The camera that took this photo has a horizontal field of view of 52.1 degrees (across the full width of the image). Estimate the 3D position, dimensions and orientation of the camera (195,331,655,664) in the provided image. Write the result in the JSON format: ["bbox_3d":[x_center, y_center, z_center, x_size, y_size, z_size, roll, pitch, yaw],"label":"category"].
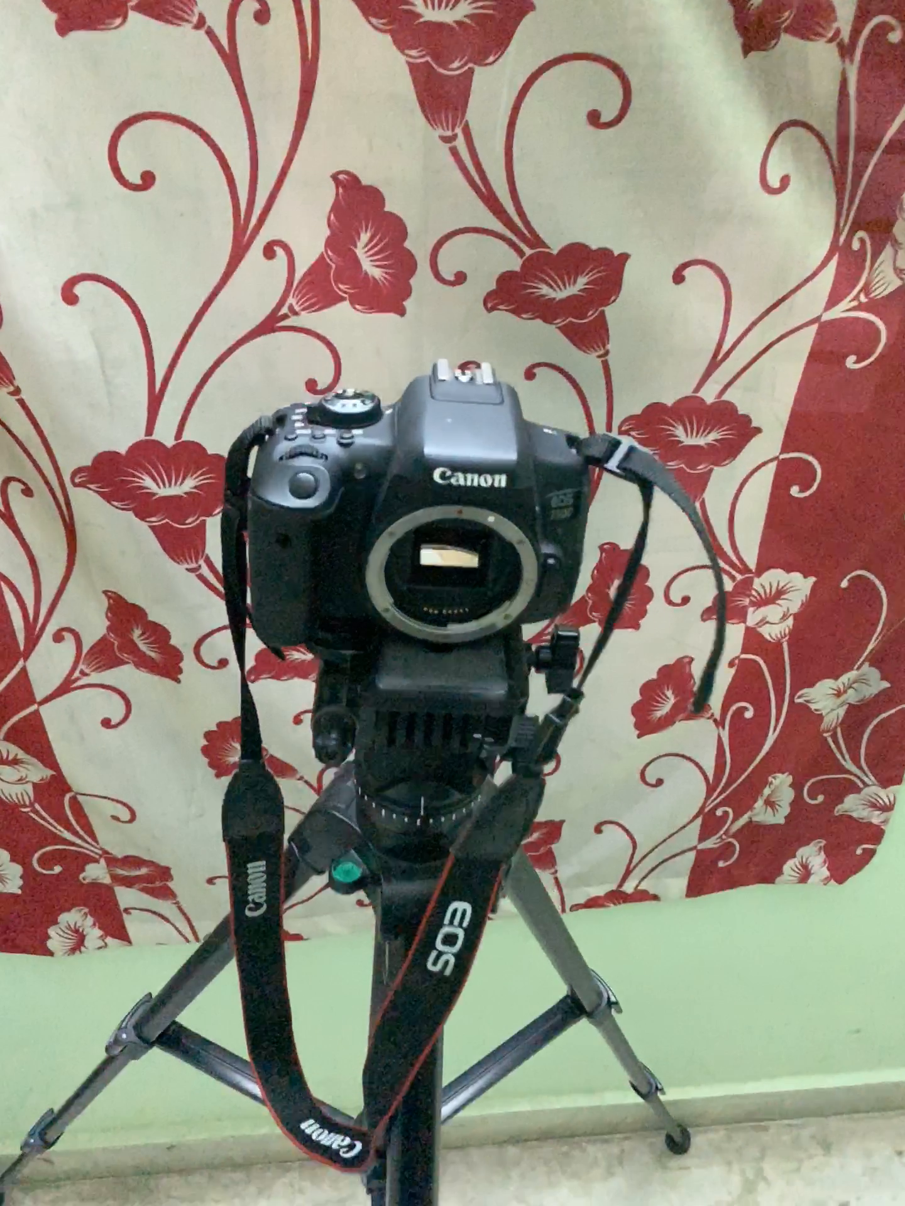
[{"bbox_3d":[-0.013,-0.040,0.345,0.142,0.088,0.085,1,36,-6],"label":"camera"}]
